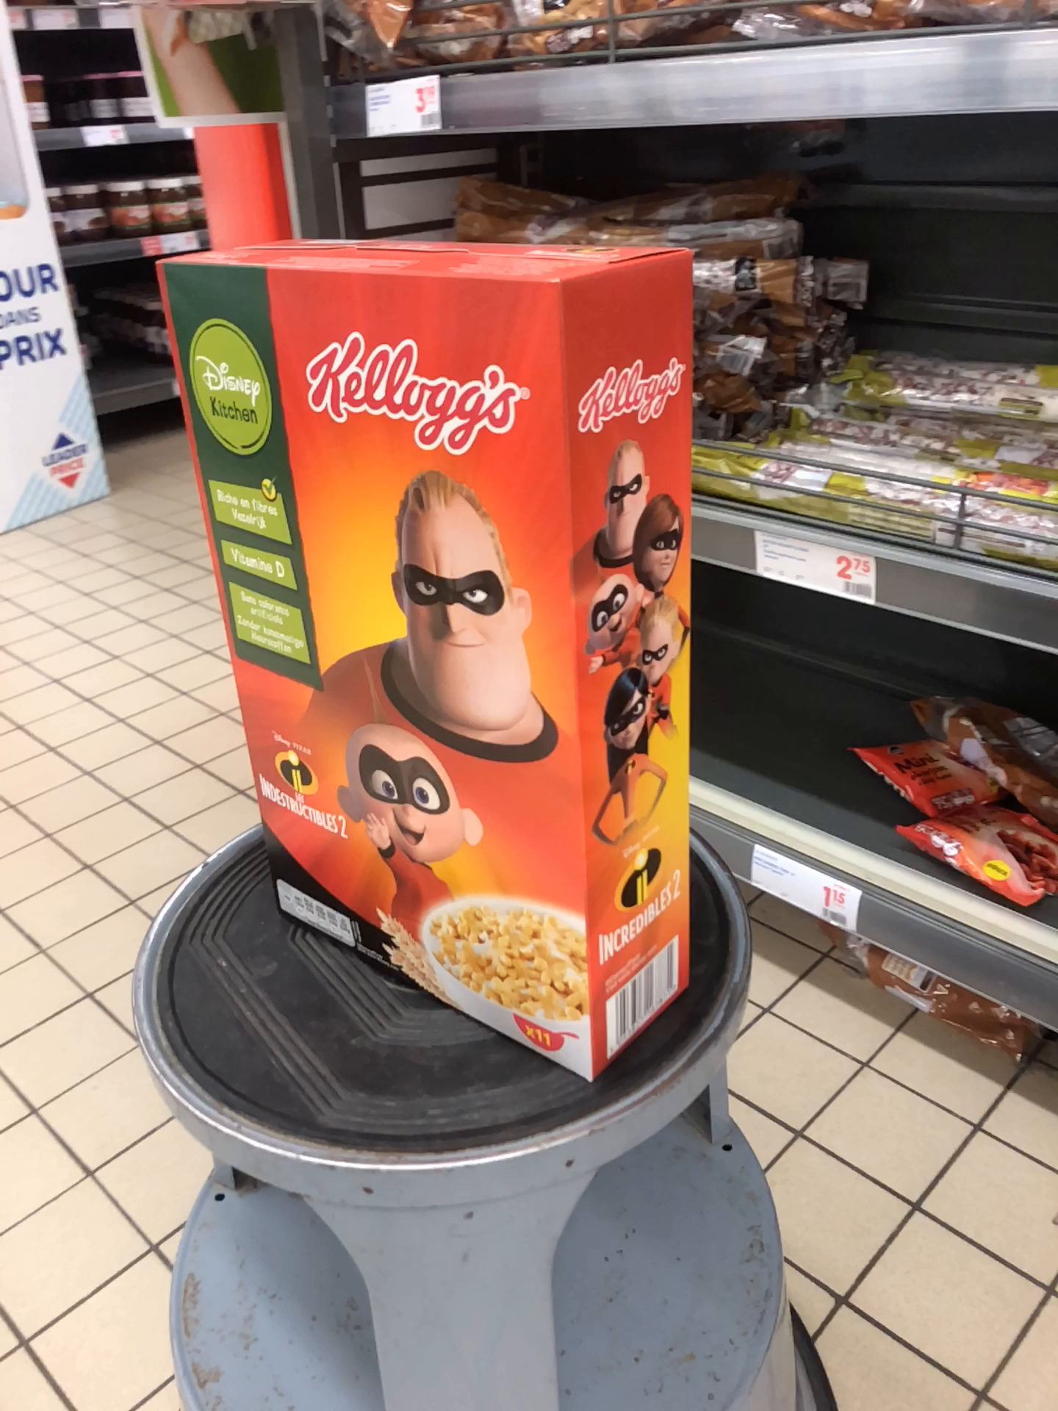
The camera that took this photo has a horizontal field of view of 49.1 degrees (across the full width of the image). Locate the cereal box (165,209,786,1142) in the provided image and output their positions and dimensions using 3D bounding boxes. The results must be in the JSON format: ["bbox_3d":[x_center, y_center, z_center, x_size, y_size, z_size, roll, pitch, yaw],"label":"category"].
[{"bbox_3d":[-0.018,-0.018,0.444,0.200,0.308,0.080,19,35,37],"label":"cereal box"}]
